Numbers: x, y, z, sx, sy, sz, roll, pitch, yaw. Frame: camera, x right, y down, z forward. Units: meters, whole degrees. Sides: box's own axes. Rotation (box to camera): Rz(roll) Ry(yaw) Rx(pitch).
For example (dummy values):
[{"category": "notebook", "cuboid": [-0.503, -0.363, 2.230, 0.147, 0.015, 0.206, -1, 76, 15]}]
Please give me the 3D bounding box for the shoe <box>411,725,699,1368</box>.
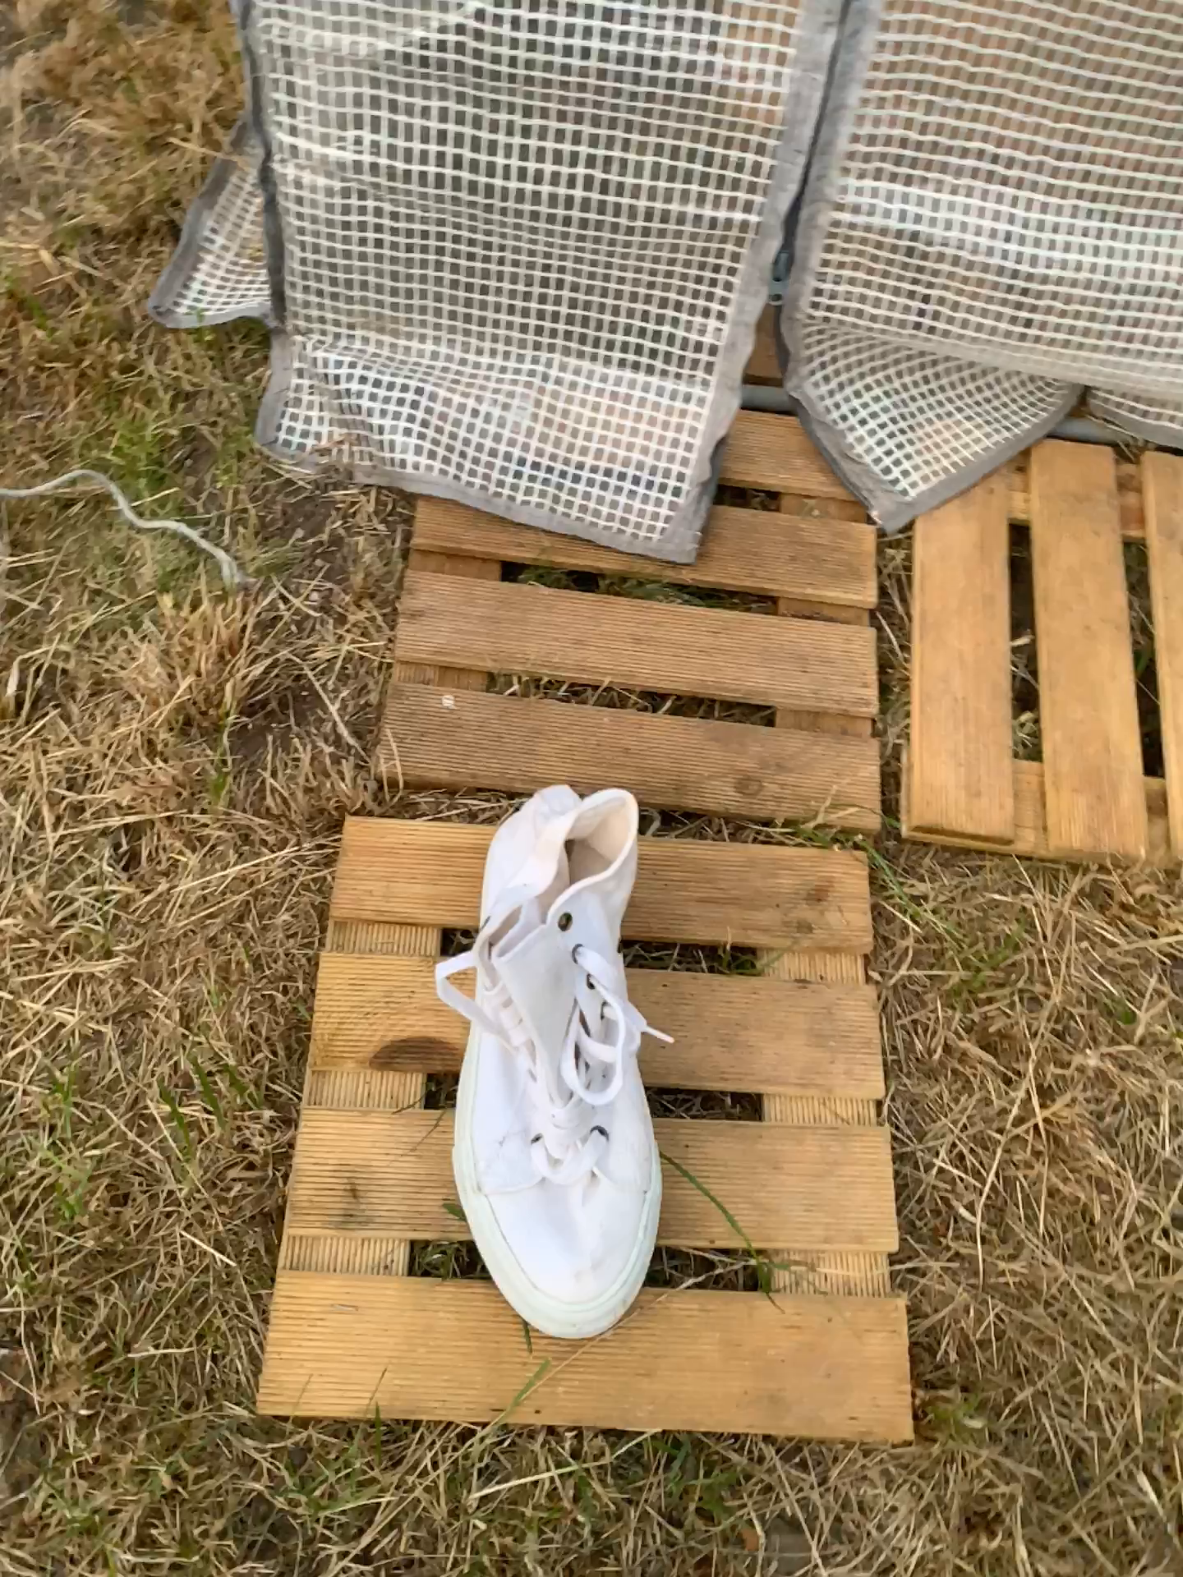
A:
[{"category": "shoe", "cuboid": [-0.013, 0.119, 0.570, 0.100, 0.129, 0.262, 6, 57, -2]}]
